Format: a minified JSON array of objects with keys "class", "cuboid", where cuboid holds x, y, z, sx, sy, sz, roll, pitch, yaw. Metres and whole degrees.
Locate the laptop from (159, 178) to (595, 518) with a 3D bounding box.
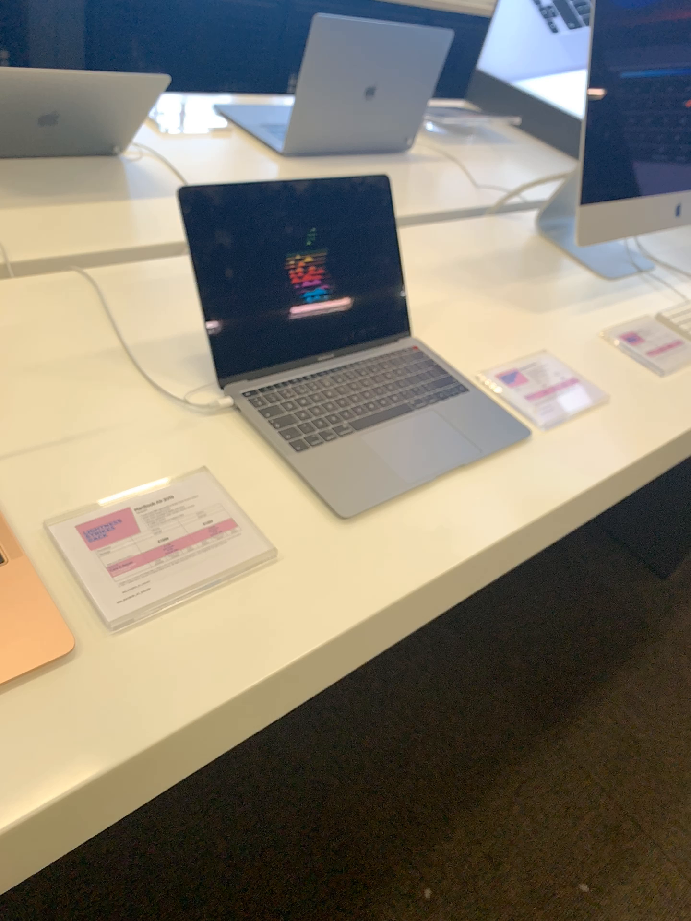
[{"class":"laptop","cuboid":[0.022,-0.148,0.767,0.291,0.160,0.329,-21,53,-38]}]
